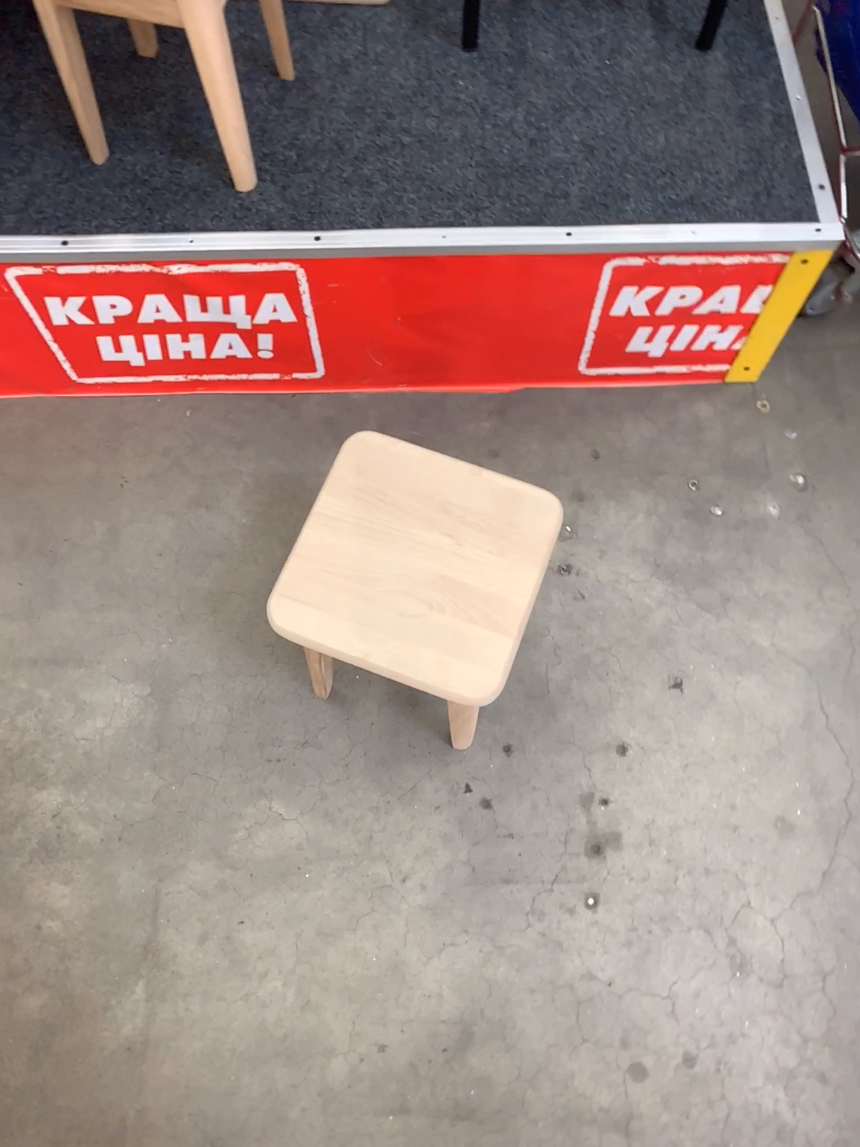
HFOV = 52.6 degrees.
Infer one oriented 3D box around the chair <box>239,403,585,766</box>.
[{"bbox_3d":[-0.012,0.024,0.960,0.260,0.260,0.250,20,69,8],"label":"chair"}]
